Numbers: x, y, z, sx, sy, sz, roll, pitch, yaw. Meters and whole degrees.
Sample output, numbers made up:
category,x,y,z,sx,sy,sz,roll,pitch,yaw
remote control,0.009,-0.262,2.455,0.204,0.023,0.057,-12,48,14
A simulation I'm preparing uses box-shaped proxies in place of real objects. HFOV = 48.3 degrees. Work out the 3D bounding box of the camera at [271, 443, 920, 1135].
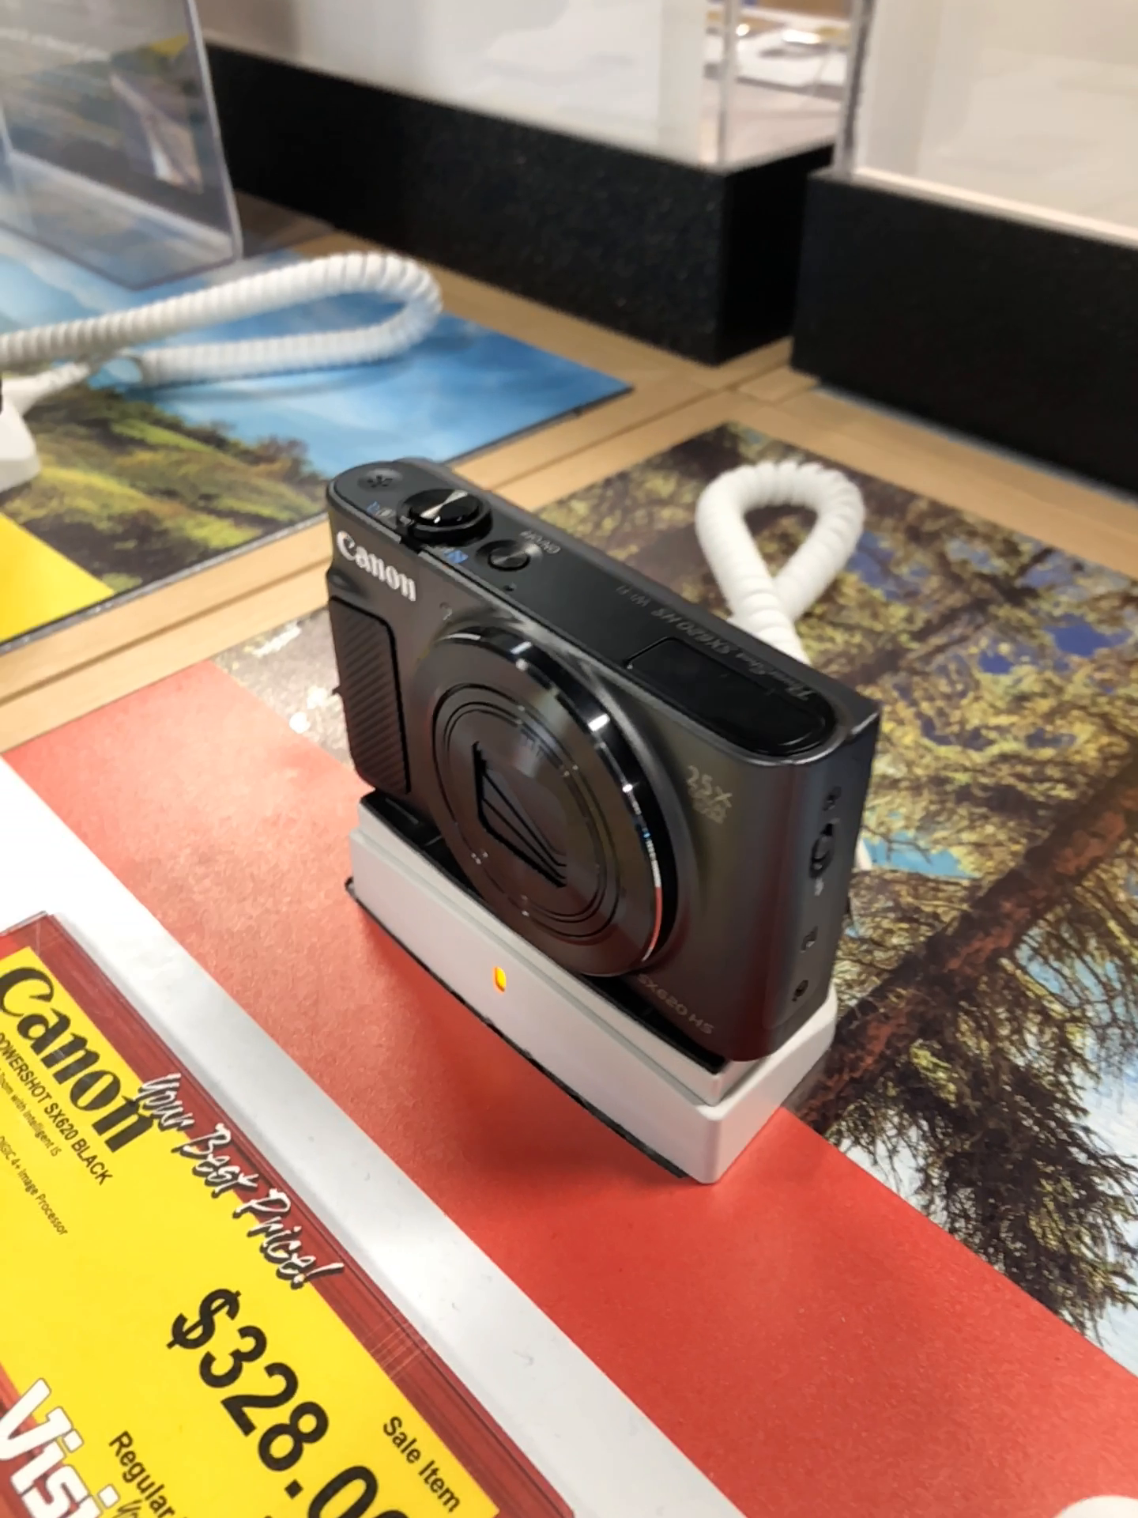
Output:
category,x,y,z,sx,sy,sz,roll,pitch,yaw
camera,-0.001,0.000,0.195,0.030,0.060,0.100,-30,47,-31
